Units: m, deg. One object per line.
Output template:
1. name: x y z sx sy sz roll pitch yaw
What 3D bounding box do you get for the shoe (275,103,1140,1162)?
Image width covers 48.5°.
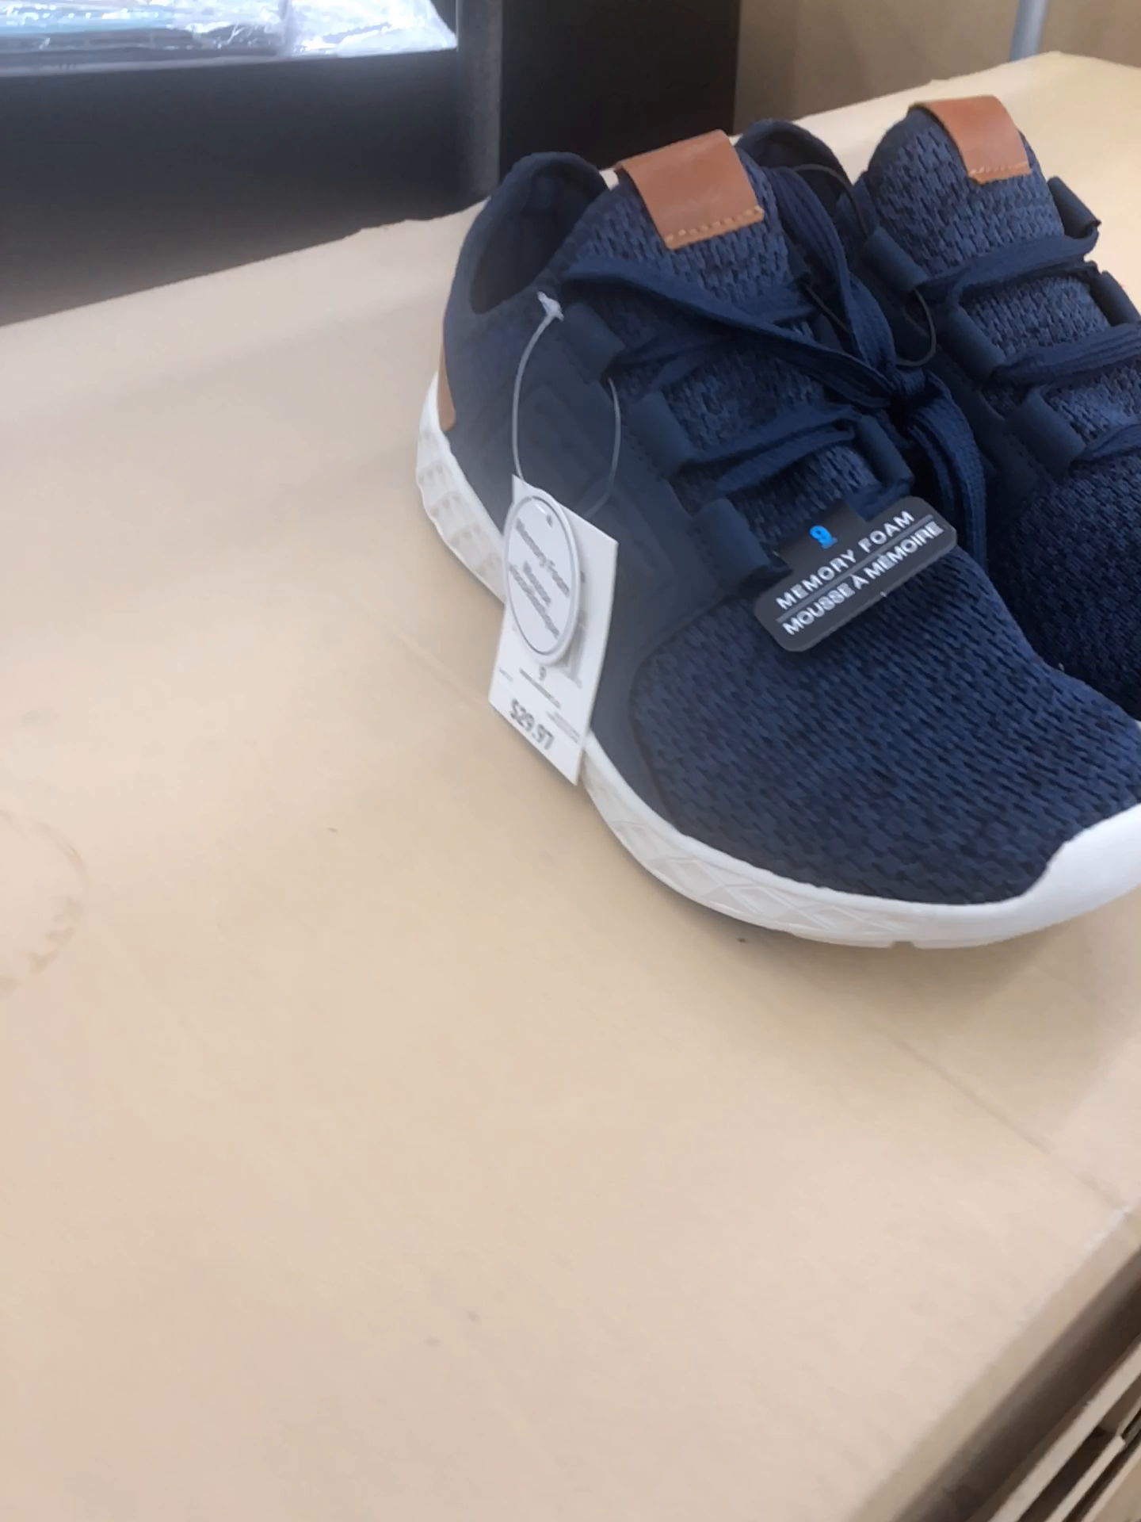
1. shoe: 0.035 -0.066 0.335 0.110 0.130 0.291 -21 44 -23

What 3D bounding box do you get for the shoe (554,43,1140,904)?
1. shoe: 0.127 -0.109 0.364 0.110 0.120 0.291 -26 46 -28
